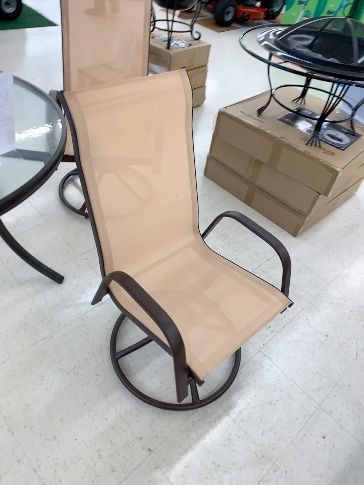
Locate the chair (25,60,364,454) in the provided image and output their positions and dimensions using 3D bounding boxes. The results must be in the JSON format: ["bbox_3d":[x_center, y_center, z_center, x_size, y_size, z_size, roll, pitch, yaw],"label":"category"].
[{"bbox_3d":[-0.007,0.052,1.235,0.569,0.957,0.709,-29,57,-34],"label":"chair"}]

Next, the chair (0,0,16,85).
[{"bbox_3d":[-1.678,-1.692,2.484,0.569,0.917,0.709,38,50,25],"label":"chair"}]

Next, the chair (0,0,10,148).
[{"bbox_3d":[-1.526,-1.164,2.048,0.708,0.917,0.570,23,45,13],"label":"chair"}]

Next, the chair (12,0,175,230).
[{"bbox_3d":[-0.379,-0.681,1.891,0.568,0.957,0.710,5,44,-6],"label":"chair"}]
